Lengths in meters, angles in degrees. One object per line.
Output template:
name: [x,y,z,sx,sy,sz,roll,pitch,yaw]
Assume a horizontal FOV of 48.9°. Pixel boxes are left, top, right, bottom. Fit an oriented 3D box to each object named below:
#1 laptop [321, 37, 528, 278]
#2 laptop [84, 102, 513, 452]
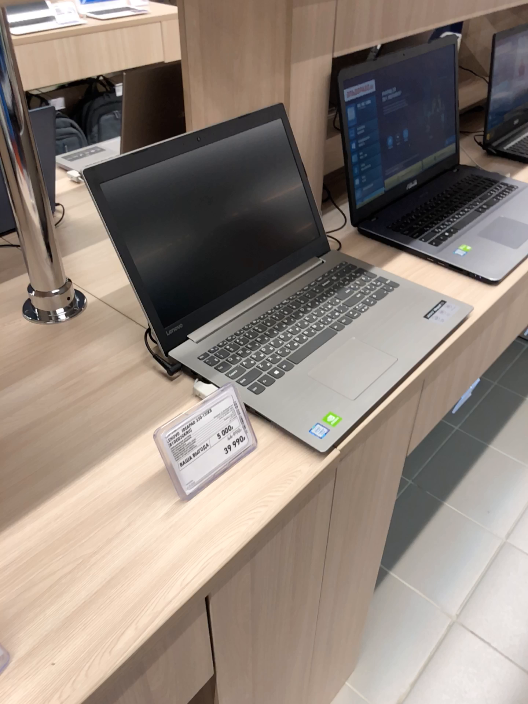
laptop: [0.371,-0.374,1.038,0.334,0.246,0.404,29,46,30]
laptop: [0.047,-0.140,0.757,0.366,0.208,0.371,29,46,30]
